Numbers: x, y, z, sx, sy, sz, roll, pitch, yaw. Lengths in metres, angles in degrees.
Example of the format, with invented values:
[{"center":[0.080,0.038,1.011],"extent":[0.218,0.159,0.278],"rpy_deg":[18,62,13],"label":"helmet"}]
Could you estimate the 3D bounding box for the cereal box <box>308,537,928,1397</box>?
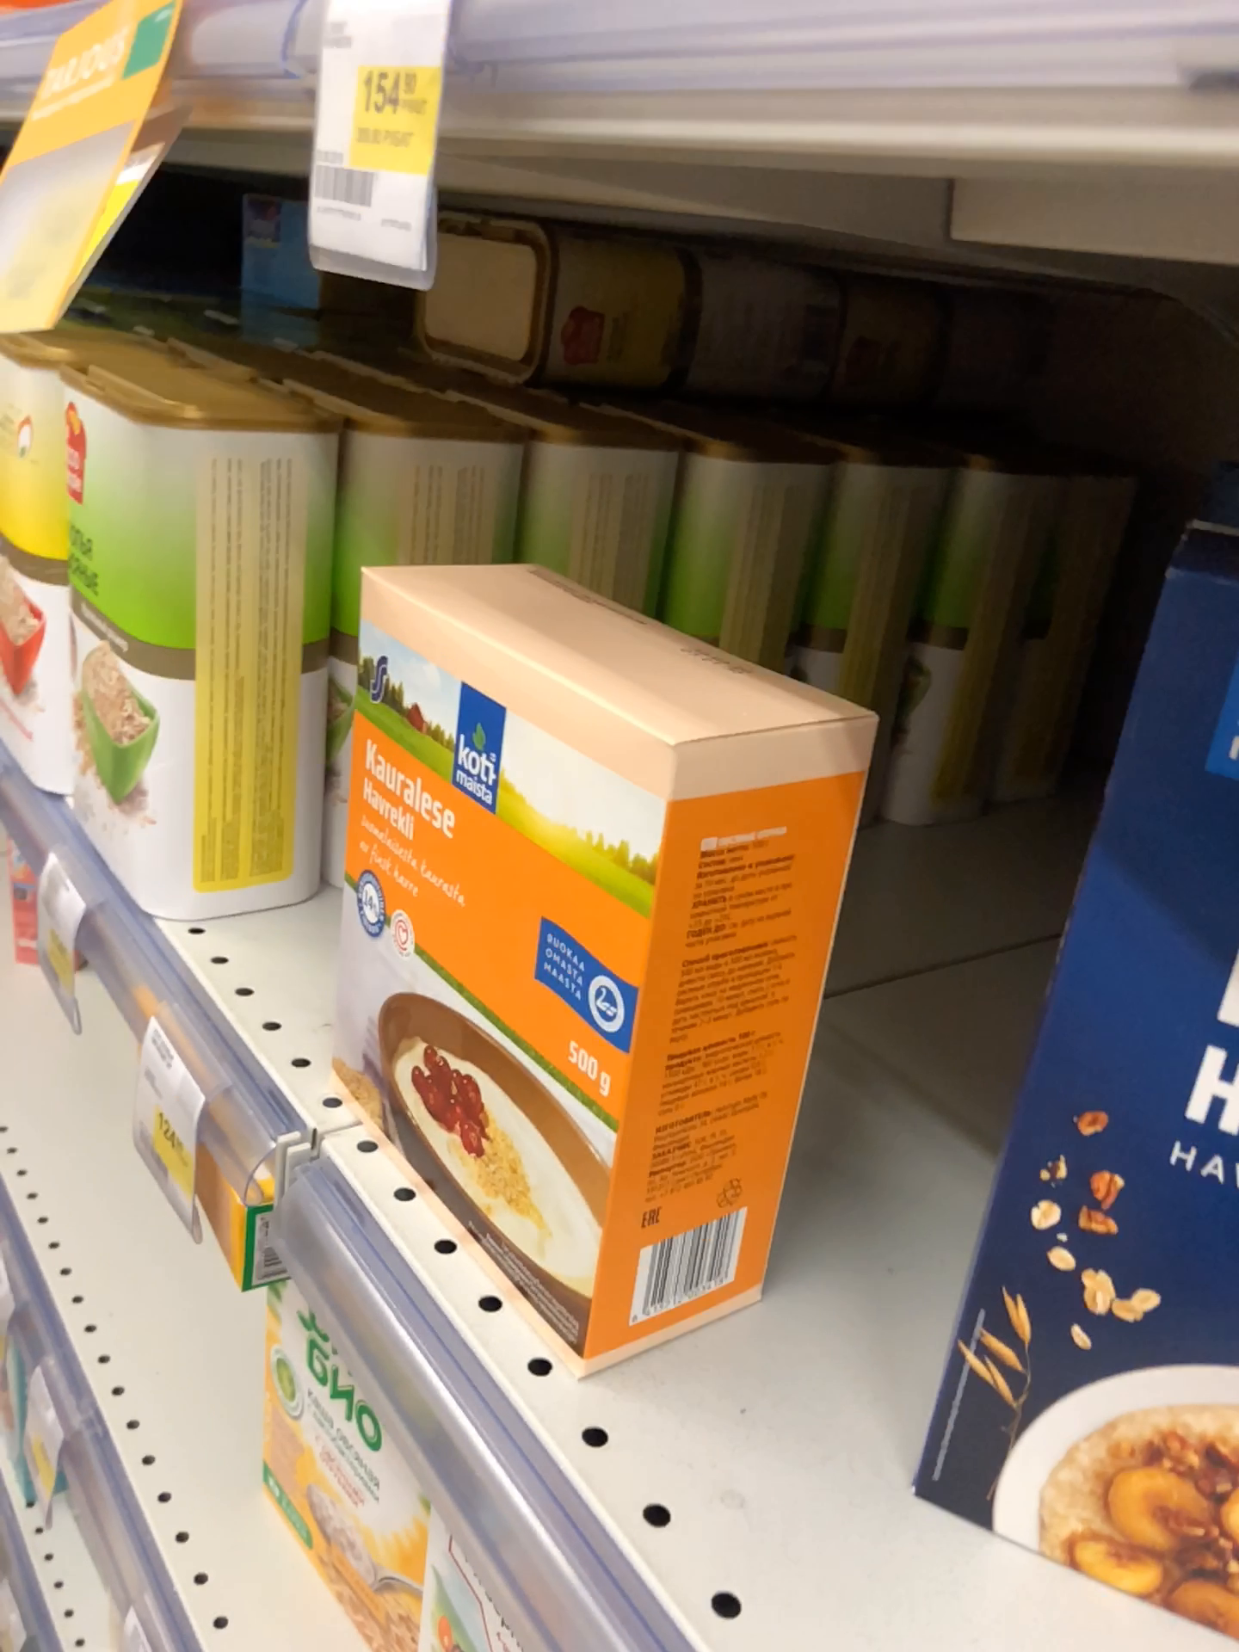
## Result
[{"center":[-0.016,0.024,0.375],"extent":[0.070,0.169,0.161],"rpy_deg":[-9,28,-35],"label":"cereal box"}]
